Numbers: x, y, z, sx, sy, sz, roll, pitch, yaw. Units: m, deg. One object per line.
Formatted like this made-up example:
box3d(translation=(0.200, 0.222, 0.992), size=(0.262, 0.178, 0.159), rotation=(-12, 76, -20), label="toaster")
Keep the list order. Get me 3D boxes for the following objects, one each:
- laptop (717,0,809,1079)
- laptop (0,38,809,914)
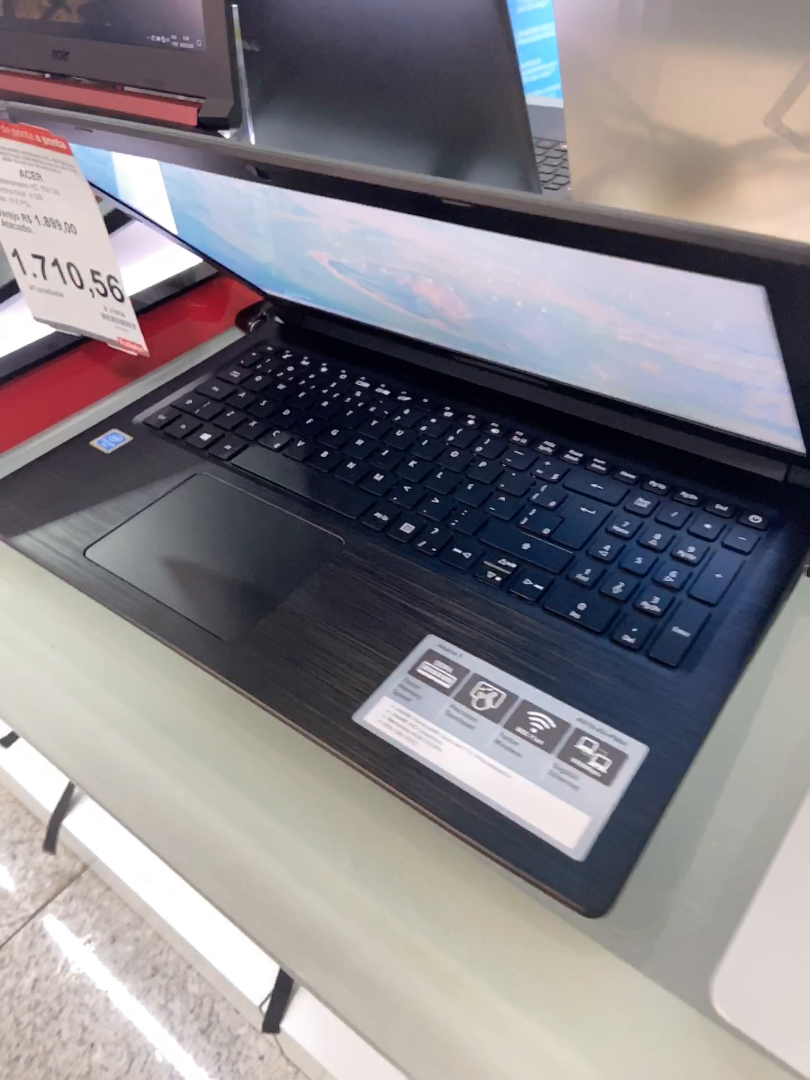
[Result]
box3d(translation=(0.320, 0.029, 0.156), size=(0.363, 0.227, 0.314), rotation=(26, 50, 31), label="laptop")
box3d(translation=(-0.026, -0.080, 0.363), size=(0.375, 0.169, 0.231), rotation=(24, 51, 30), label="laptop")
